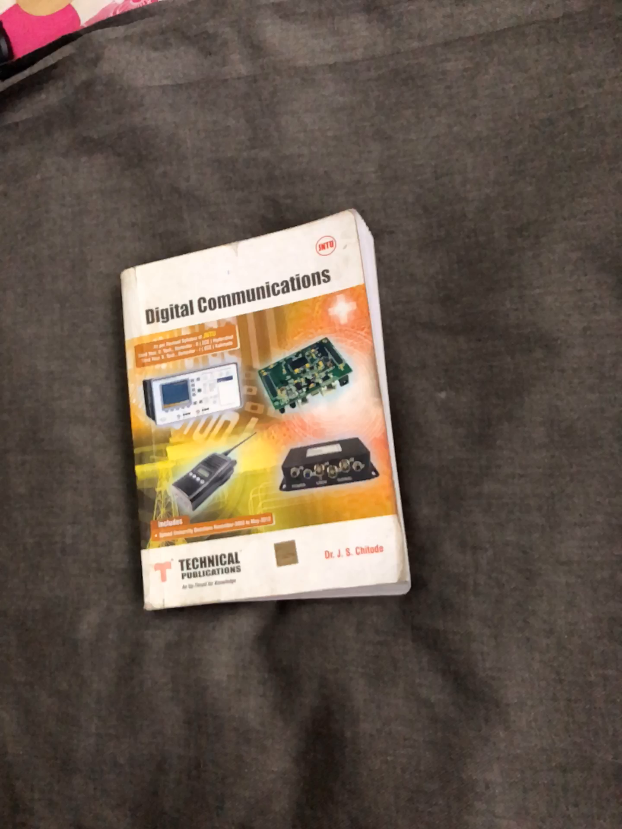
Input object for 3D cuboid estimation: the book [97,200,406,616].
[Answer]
[{"bbox_3d":[-0.046,0.002,0.464,0.182,0.050,0.241,-9,80,19],"label":"book"}]
